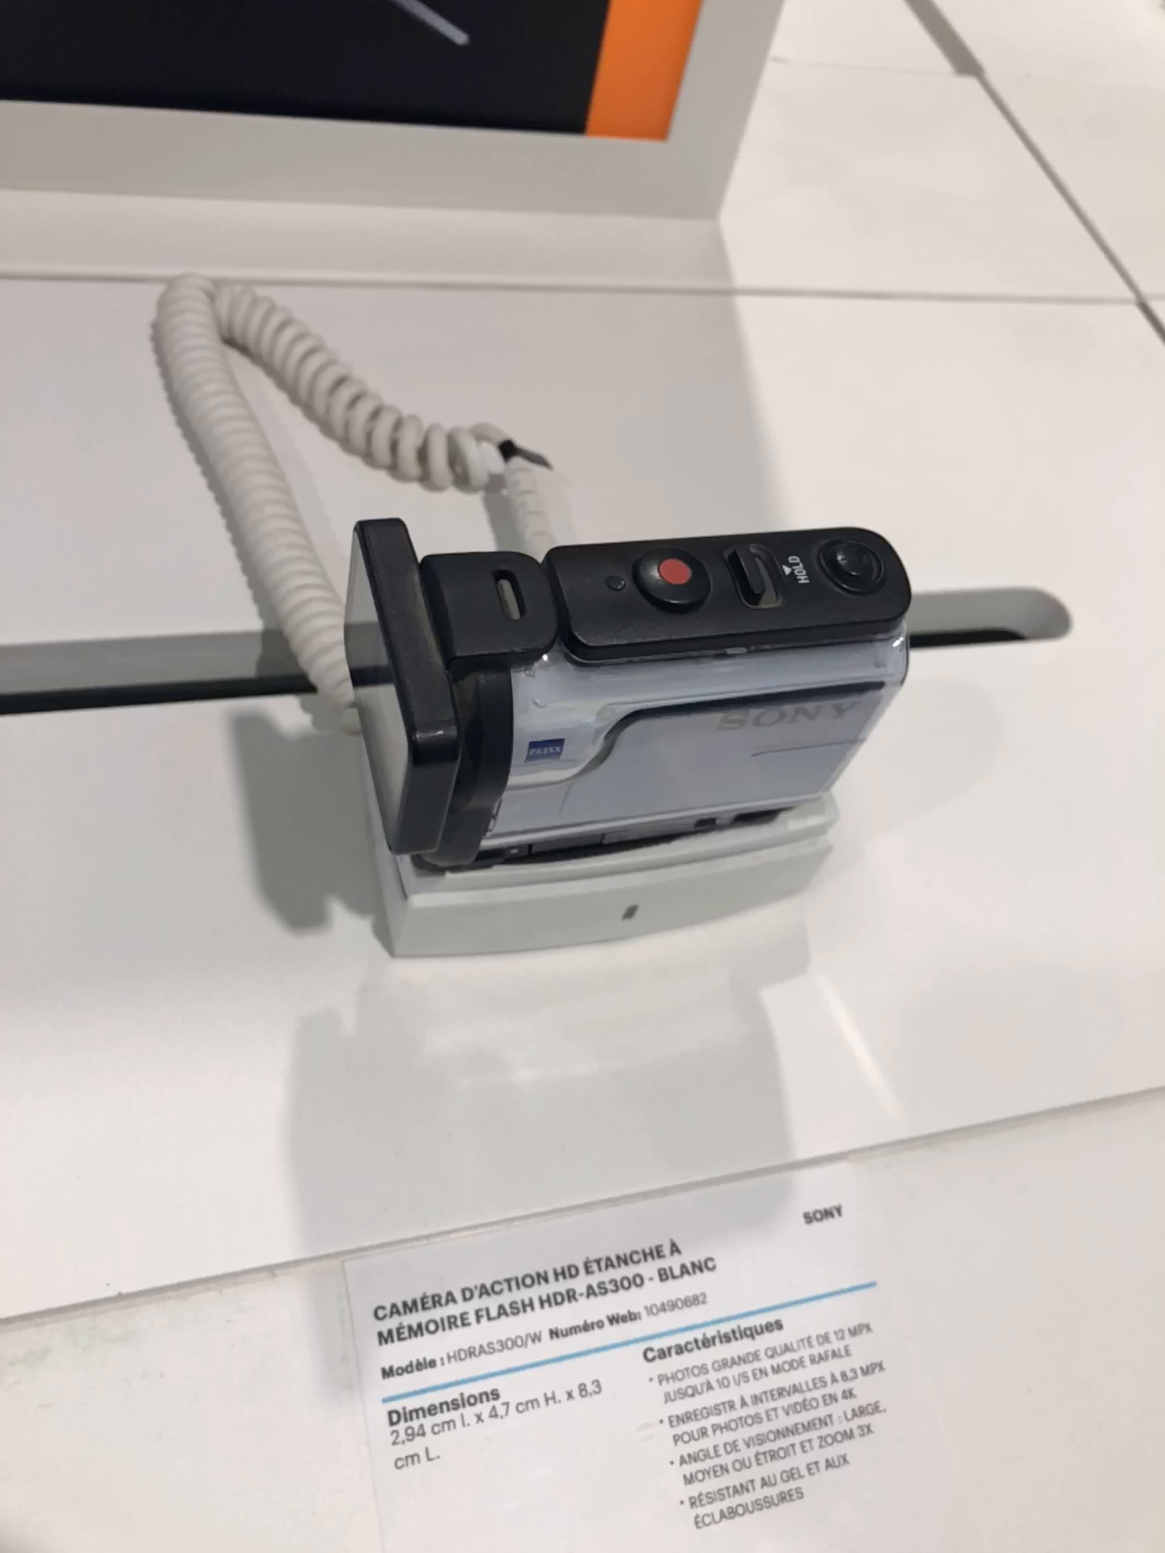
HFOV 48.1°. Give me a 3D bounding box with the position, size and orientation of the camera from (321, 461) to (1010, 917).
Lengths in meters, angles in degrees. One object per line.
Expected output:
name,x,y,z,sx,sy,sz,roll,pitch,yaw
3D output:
camera,0.009,-0.016,0.210,0.093,0.044,0.049,-6,56,-18
